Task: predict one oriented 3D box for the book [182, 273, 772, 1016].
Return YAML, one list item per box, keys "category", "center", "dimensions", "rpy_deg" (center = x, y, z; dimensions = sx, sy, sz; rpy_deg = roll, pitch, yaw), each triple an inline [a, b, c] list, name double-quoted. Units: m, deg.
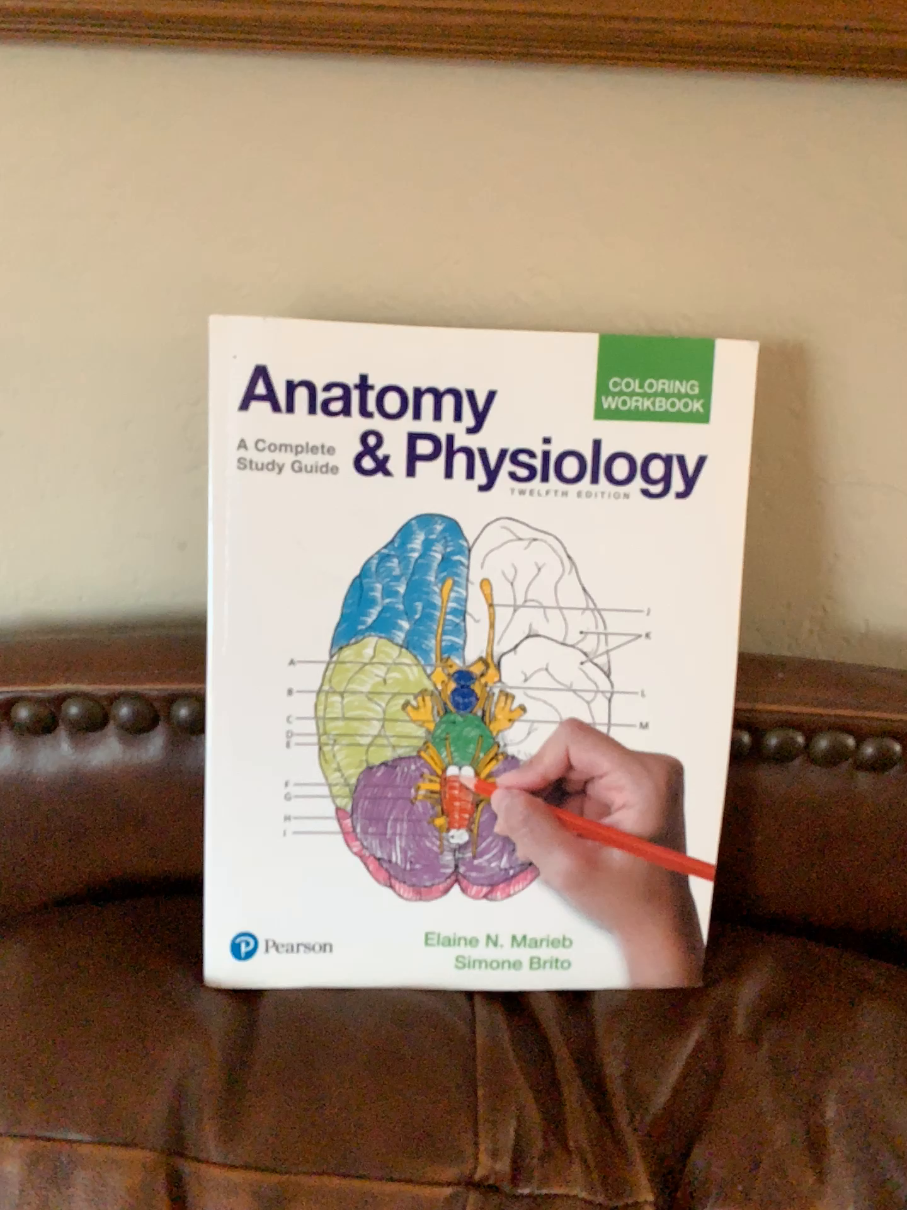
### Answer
- category: "book"
  center: [0.007, 0.019, 0.390]
  dimensions: [0.220, 0.290, 0.060]
  rpy_deg: [0, 7, -2]
